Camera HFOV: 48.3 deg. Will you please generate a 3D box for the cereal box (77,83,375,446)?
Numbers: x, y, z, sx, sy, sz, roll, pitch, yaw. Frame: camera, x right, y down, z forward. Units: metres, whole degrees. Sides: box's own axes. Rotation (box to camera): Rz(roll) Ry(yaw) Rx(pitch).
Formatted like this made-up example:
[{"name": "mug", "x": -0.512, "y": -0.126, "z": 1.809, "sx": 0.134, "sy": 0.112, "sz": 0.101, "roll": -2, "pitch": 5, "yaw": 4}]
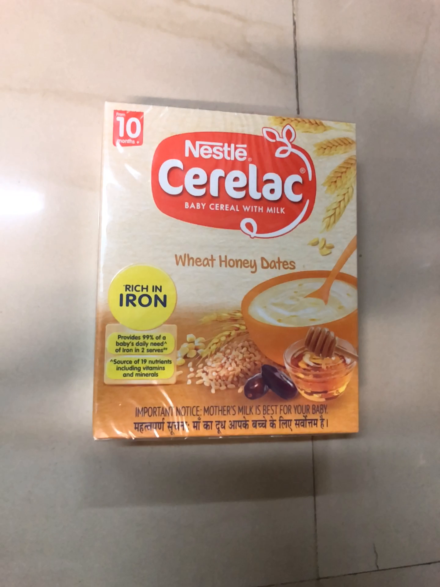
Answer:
[{"name": "cereal box", "x": 0.003, "y": -0.014, "z": 0.298, "sx": 0.160, "sy": 0.060, "sz": 0.190, "roll": 2, "pitch": 84, "yaw": -10}]
